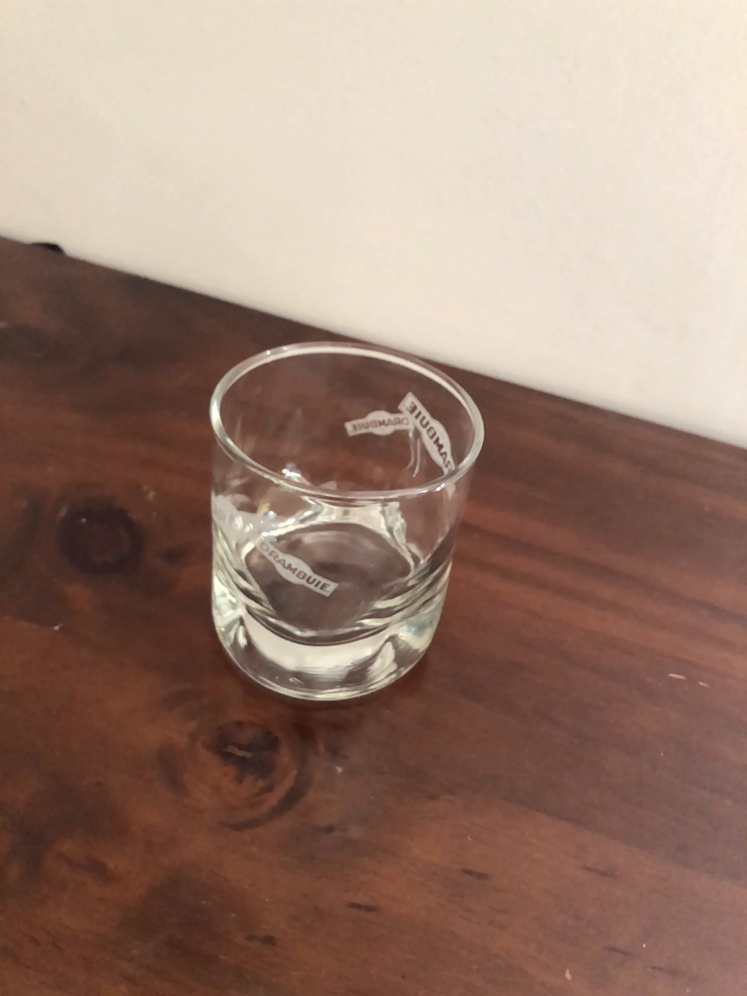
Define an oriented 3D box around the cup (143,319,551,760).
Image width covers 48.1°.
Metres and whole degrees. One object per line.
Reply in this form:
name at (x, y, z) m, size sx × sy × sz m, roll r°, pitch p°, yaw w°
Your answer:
cup at (-0.013, 0.008, 0.256) m, size 0.081 × 0.080 × 0.082 m, roll 6°, pitch 39°, yaw -5°
